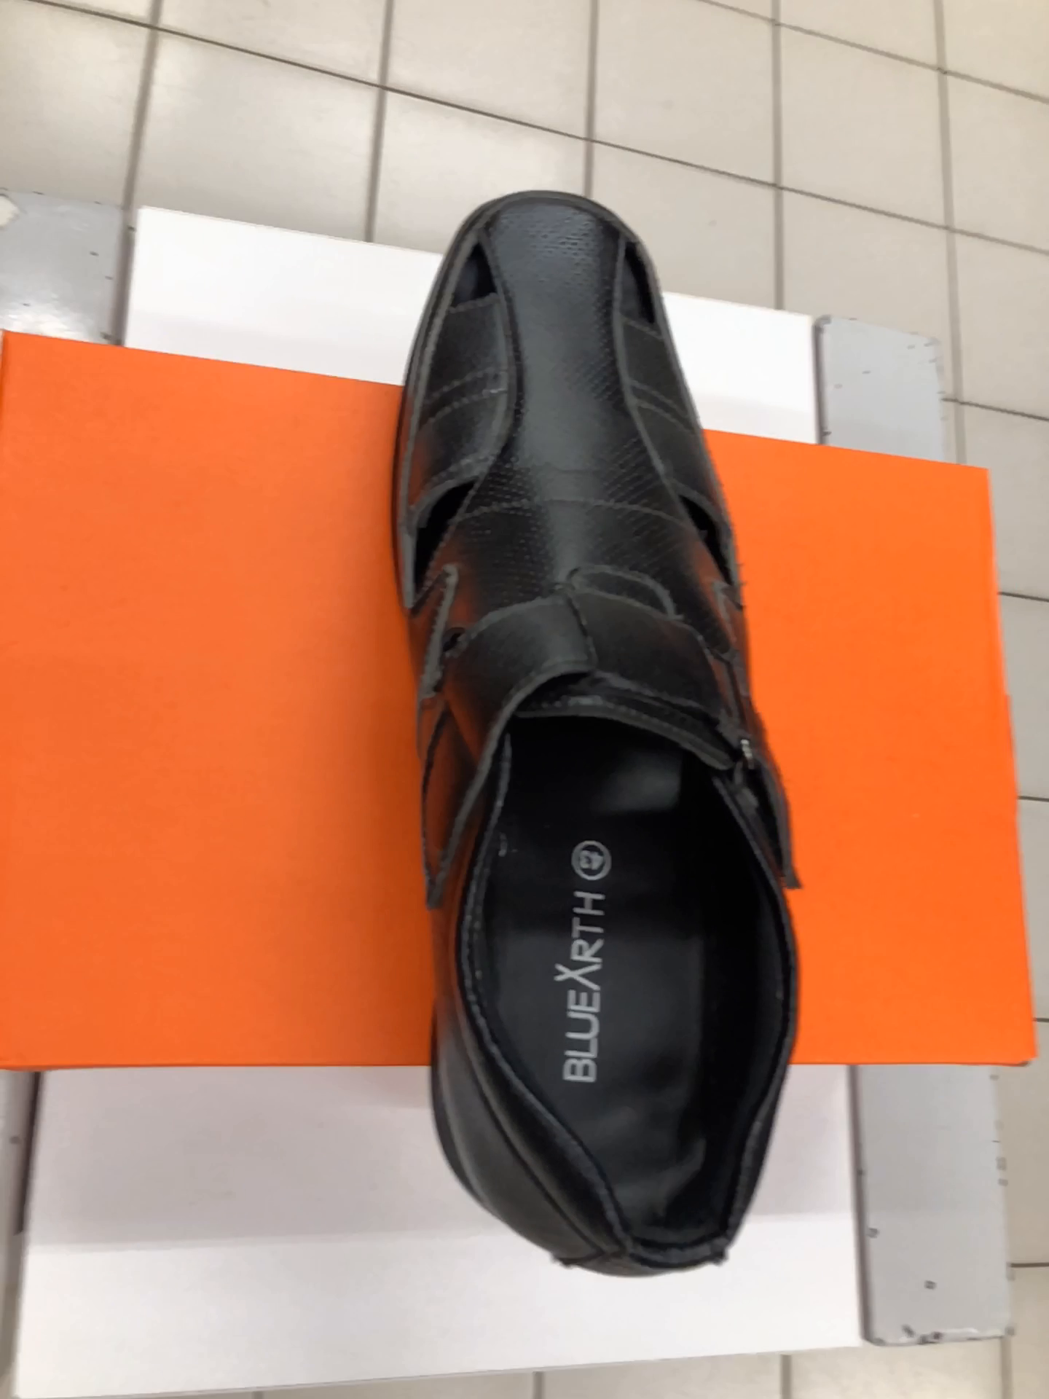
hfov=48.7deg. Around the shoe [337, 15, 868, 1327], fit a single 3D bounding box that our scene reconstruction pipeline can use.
[{"bbox_3d":[0.012,-0.012,0.316,0.100,0.100,0.300,4,75,-16],"label":"shoe"}]
